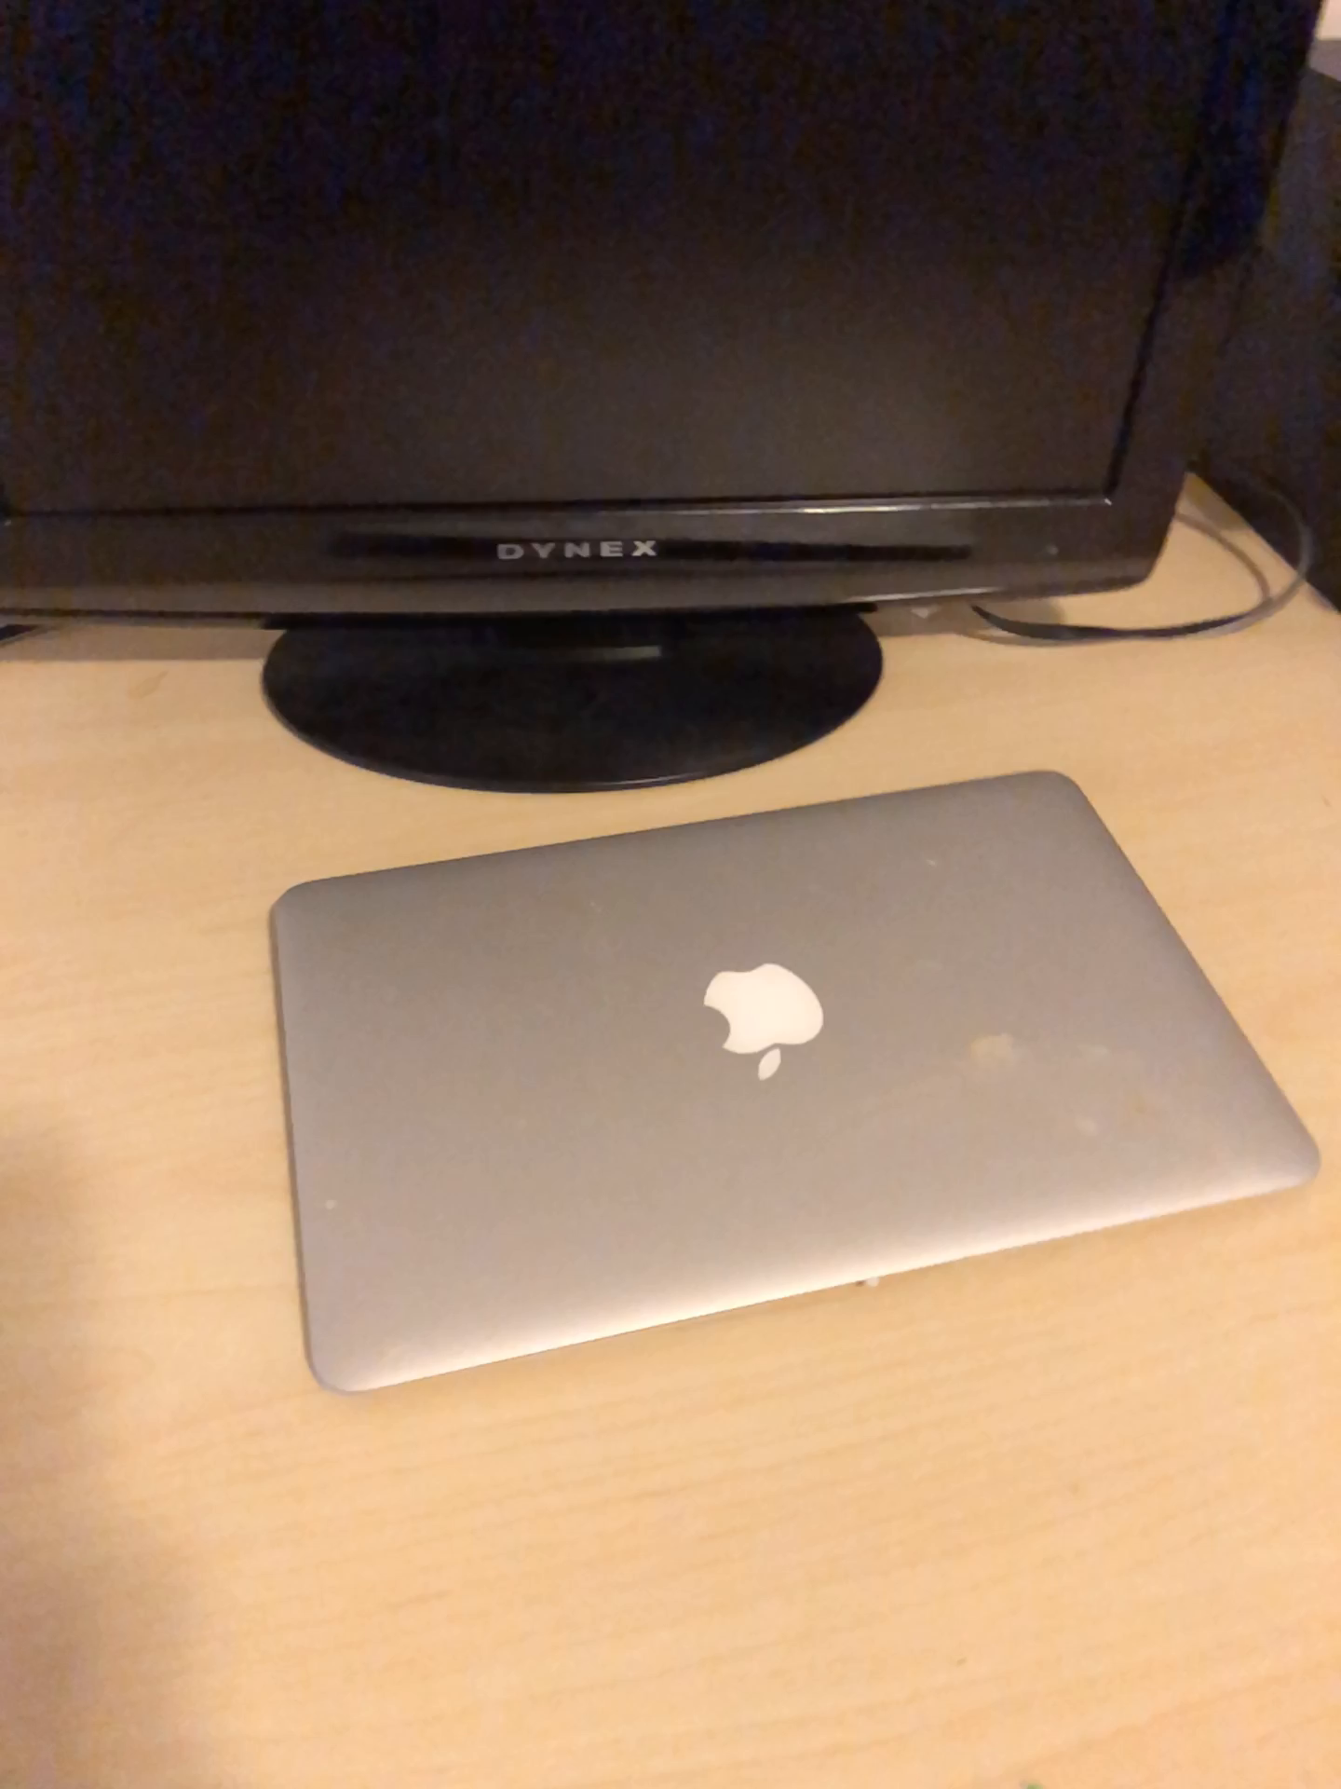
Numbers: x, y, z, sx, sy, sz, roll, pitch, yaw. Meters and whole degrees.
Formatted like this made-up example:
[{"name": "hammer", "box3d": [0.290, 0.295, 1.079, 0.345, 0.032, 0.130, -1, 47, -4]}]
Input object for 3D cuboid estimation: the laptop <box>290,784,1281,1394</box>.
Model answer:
[{"name": "laptop", "box3d": [0.027, 0.044, 0.472, 0.278, 0.005, 0.182, -9, 47, -12]}]
